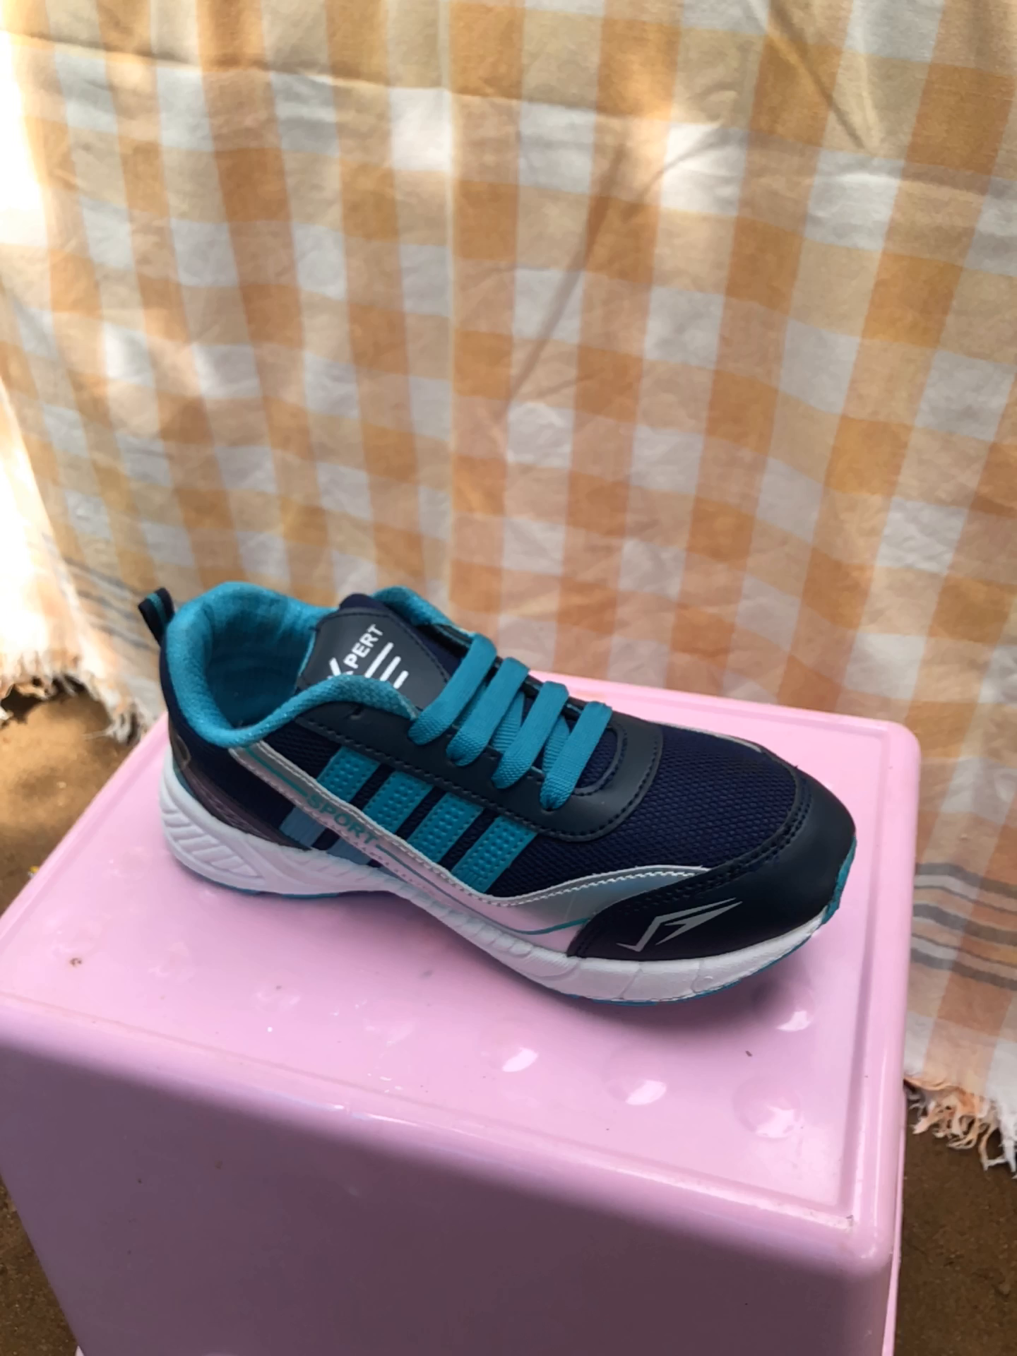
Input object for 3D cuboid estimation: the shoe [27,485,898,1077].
[{"bbox_3d":[-0.014,0.027,0.414,0.270,0.109,0.111,13,42,16],"label":"shoe"}]
